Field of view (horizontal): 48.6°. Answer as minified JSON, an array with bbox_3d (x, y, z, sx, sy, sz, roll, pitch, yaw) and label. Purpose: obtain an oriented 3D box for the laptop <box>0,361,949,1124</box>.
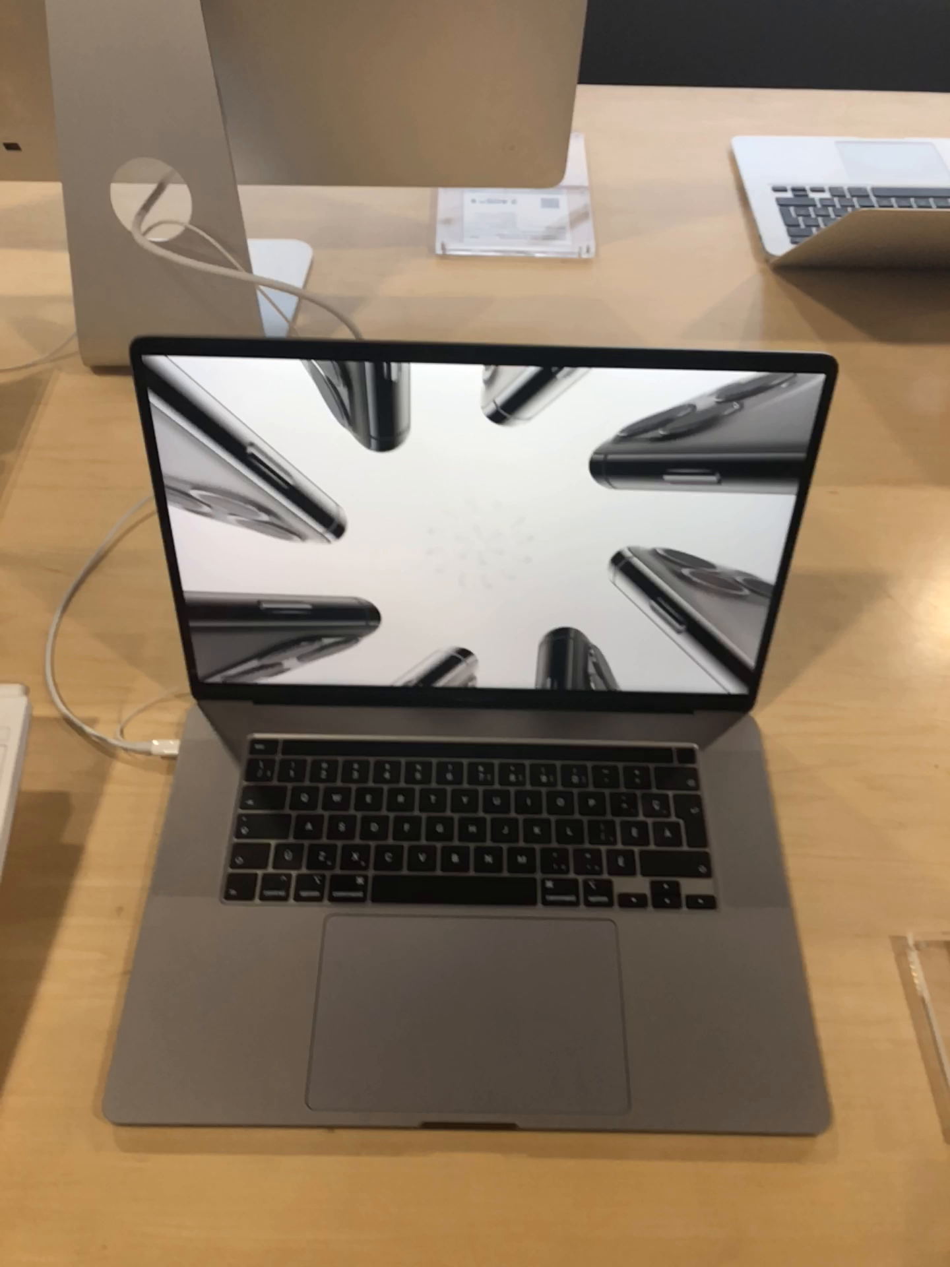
[{"bbox_3d":[0.003,0.051,0.507,0.343,0.227,0.292,1,51,0],"label":"laptop"}]
